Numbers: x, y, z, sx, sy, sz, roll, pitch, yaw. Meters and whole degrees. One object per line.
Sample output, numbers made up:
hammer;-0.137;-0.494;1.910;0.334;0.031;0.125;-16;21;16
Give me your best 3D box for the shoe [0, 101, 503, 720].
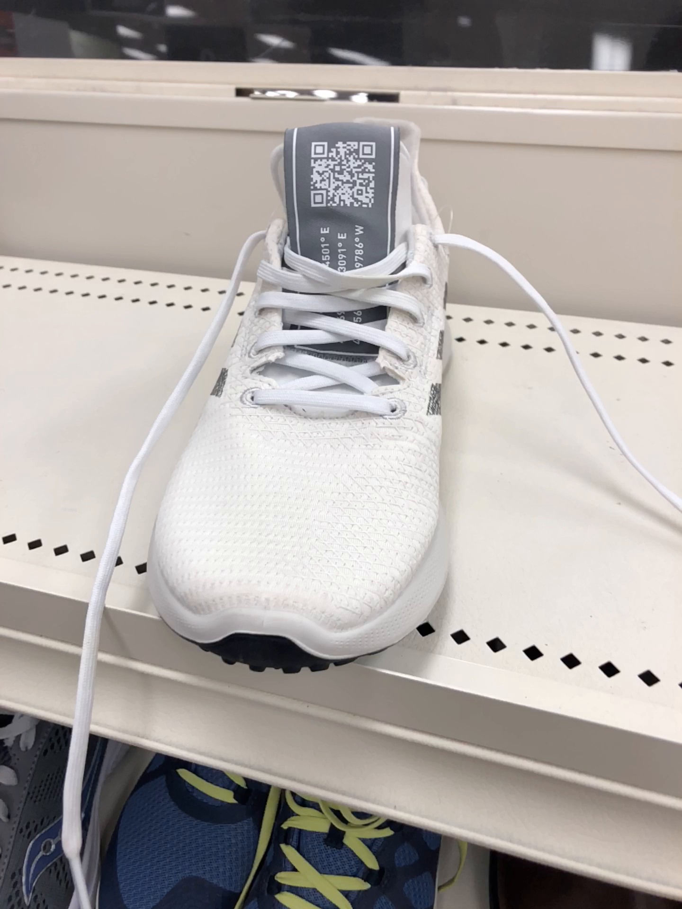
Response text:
shoe;0.001;-0.082;0.348;0.128;0.139;0.383;6;26;9
